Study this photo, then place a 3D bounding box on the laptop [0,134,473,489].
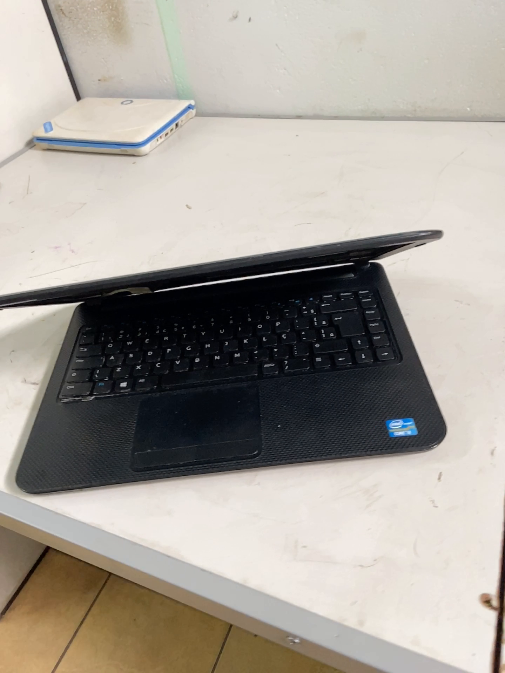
[{"bbox_3d":[-0.034,-0.031,0.435,0.330,0.141,0.231,-8,42,4],"label":"laptop"}]
